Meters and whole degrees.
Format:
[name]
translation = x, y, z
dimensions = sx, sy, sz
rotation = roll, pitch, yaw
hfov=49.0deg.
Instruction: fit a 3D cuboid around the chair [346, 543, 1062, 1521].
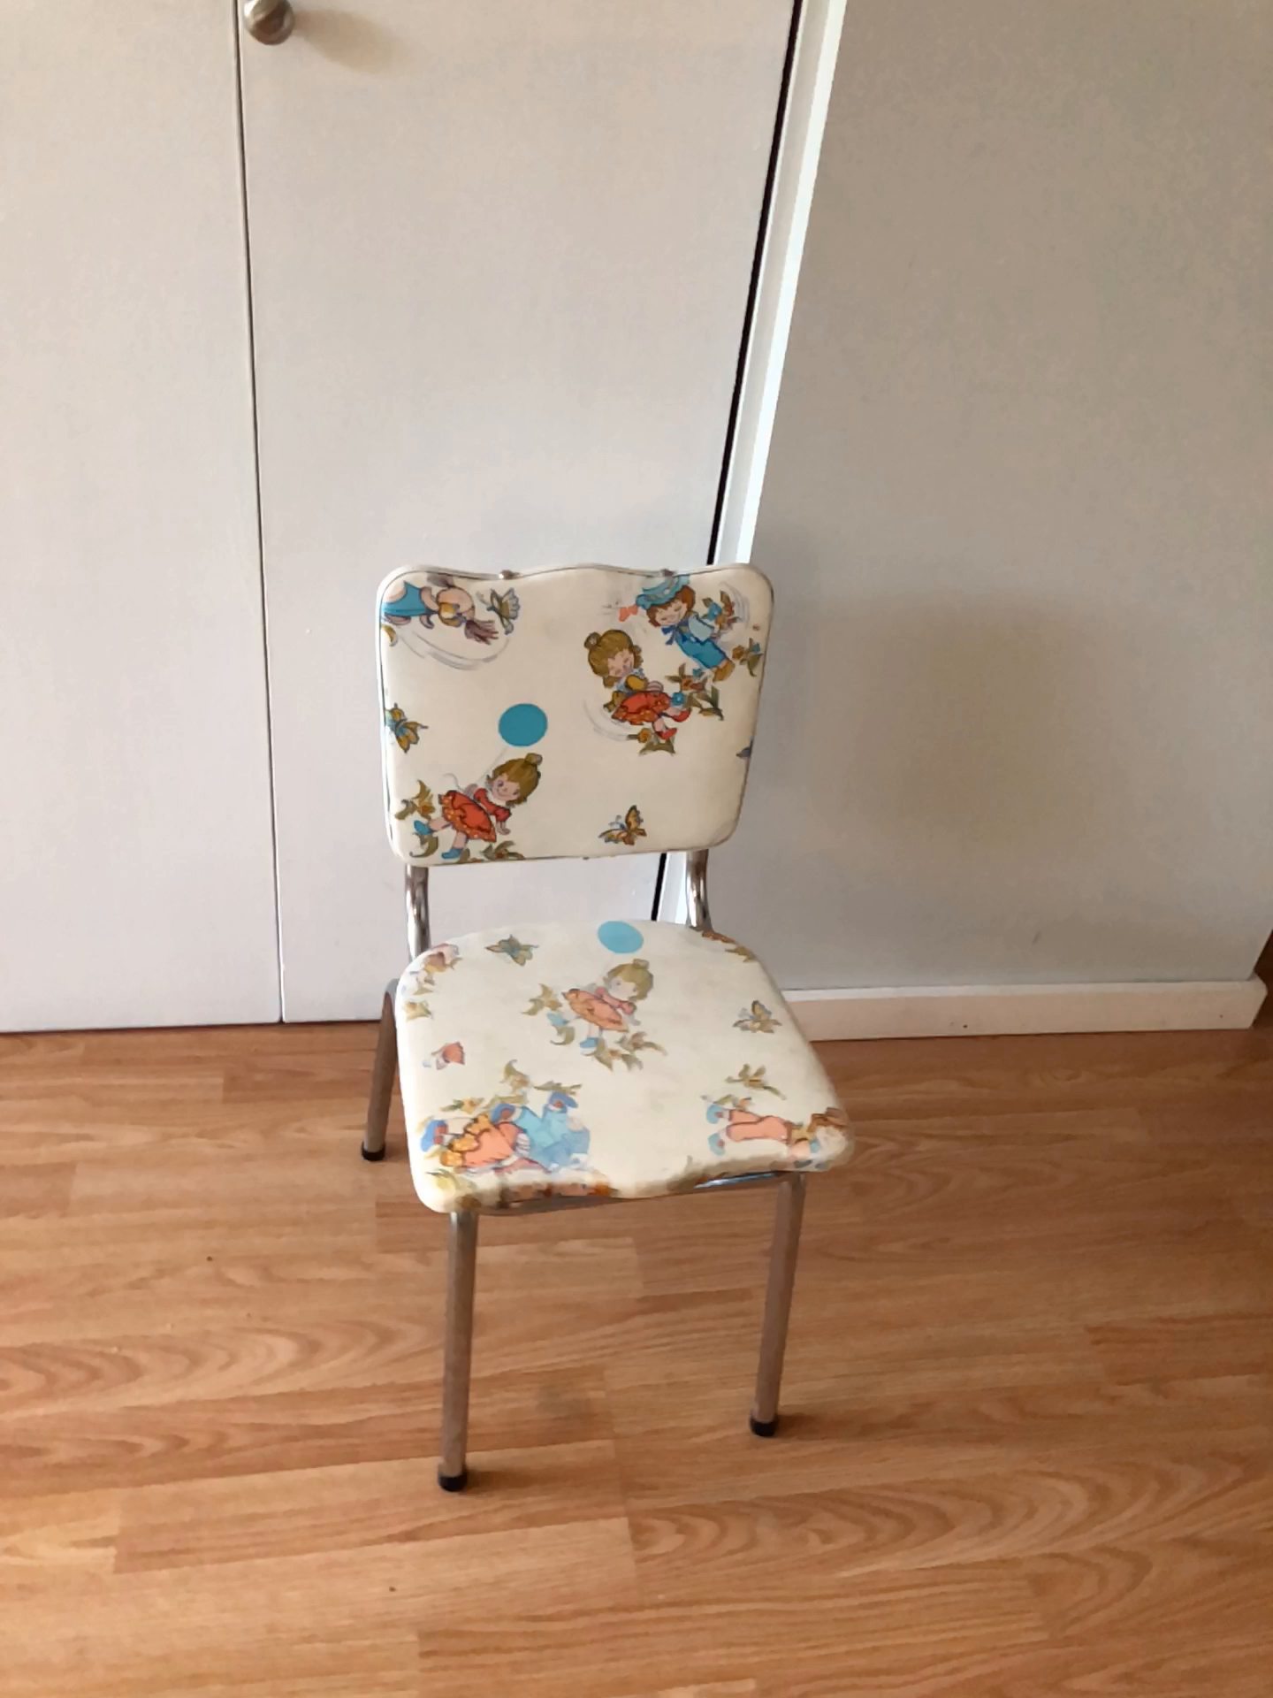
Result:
[chair]
translation = -0.018, 0.122, 1.015
dimensions = 0.350, 0.558, 0.391
rotation = -3, 37, -15
